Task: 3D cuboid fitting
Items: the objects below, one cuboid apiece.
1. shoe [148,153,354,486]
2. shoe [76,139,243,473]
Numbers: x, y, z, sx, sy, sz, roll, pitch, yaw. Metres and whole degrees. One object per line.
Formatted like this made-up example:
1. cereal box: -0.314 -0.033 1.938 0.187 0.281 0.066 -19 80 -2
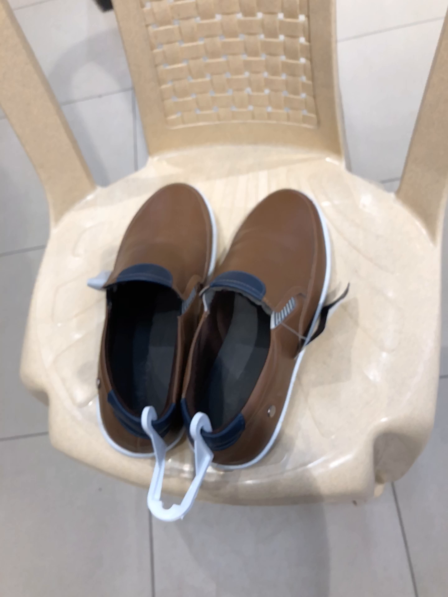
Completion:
1. shoe: 0.039 0.009 0.449 0.104 0.099 0.271 6 65 22
2. shoe: -0.053 0.005 0.450 0.104 0.099 0.271 9 64 -11
